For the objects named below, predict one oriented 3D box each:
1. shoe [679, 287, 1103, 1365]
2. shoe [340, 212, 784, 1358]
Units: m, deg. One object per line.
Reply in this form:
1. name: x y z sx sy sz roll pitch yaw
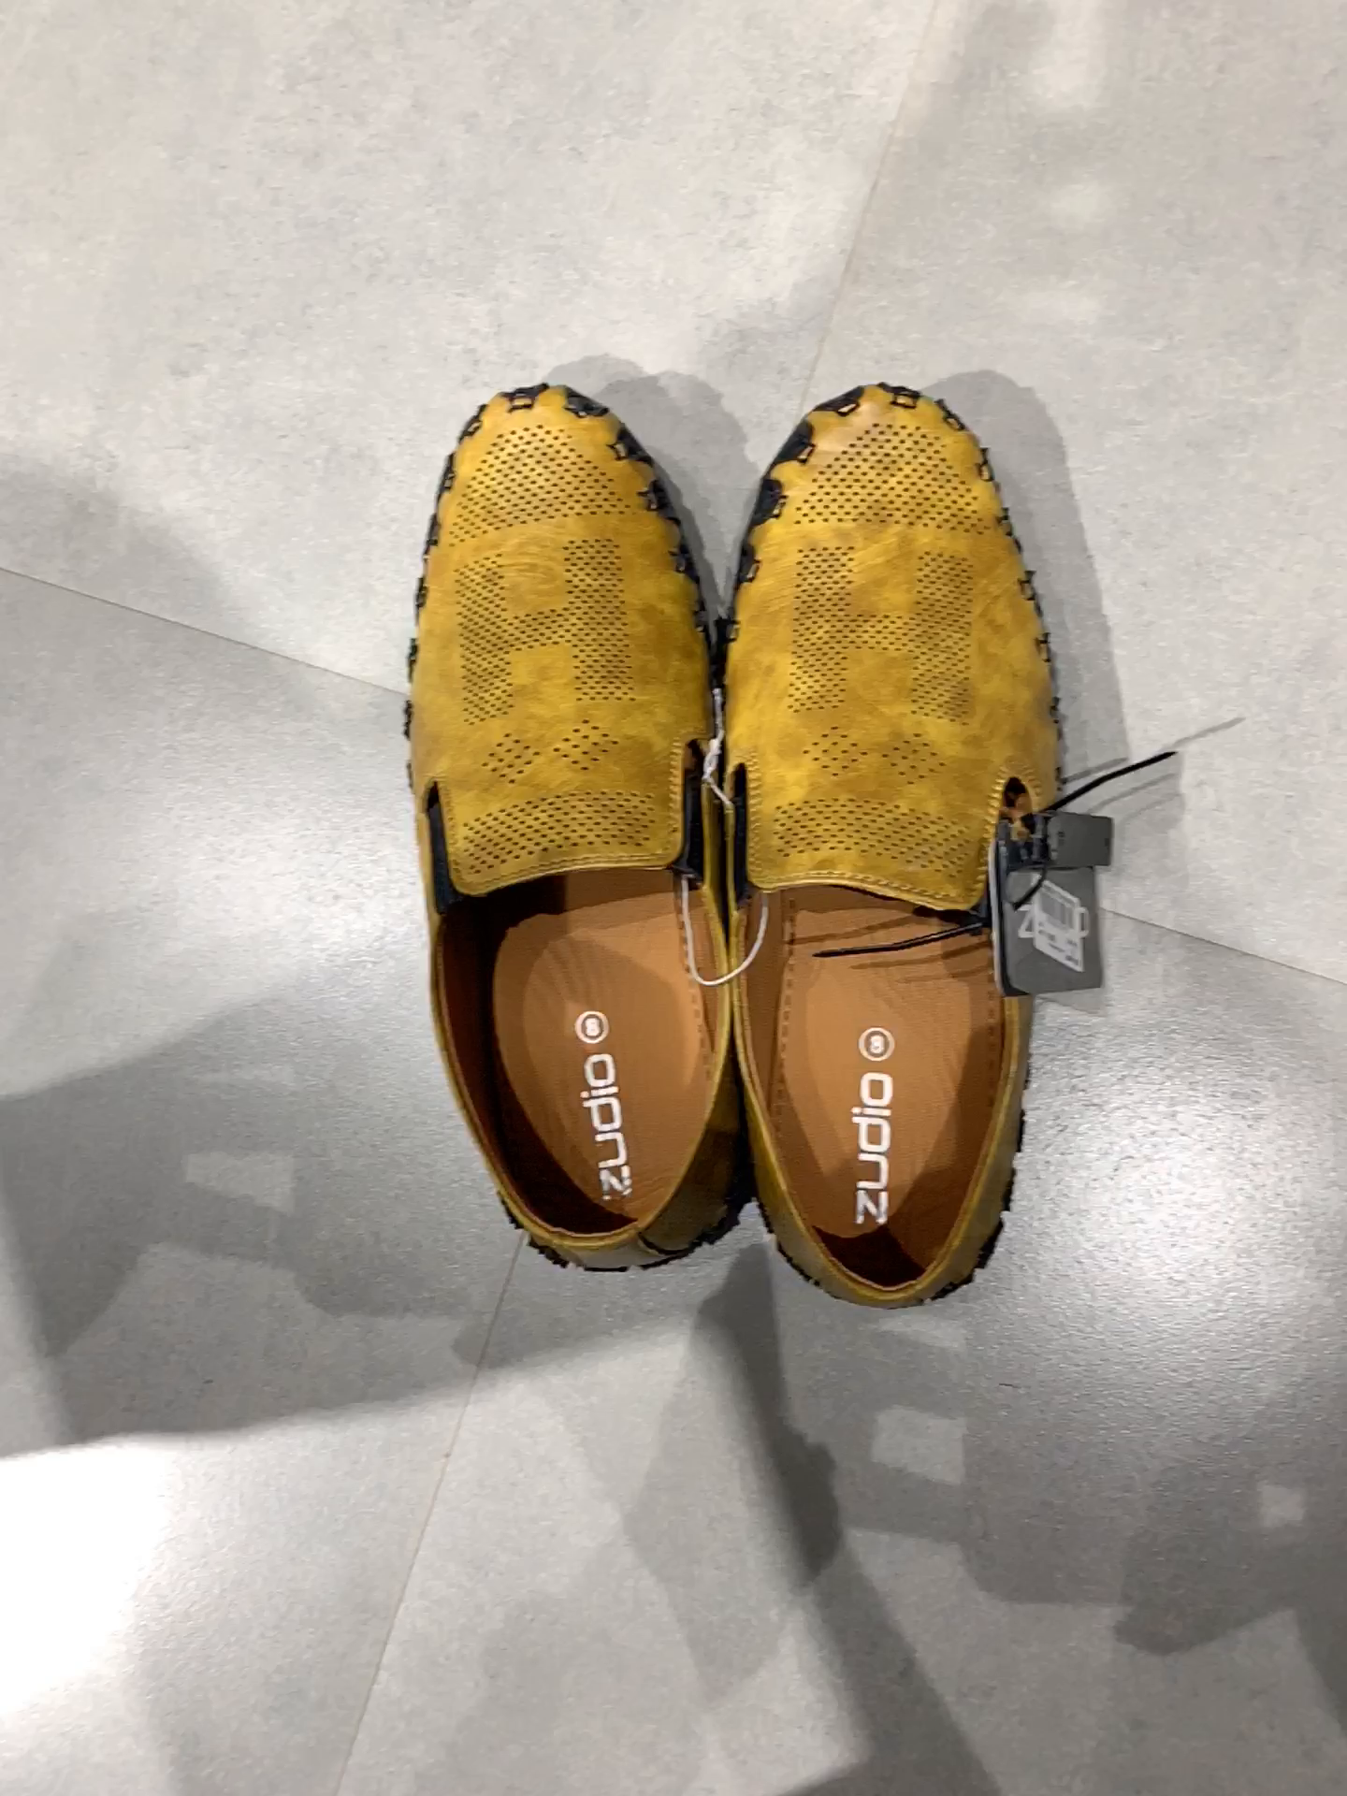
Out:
1. shoe: 0.064 -0.021 0.415 0.110 0.080 0.290 0 85 8
2. shoe: -0.031 -0.030 0.449 0.100 0.120 0.320 -5 84 8
